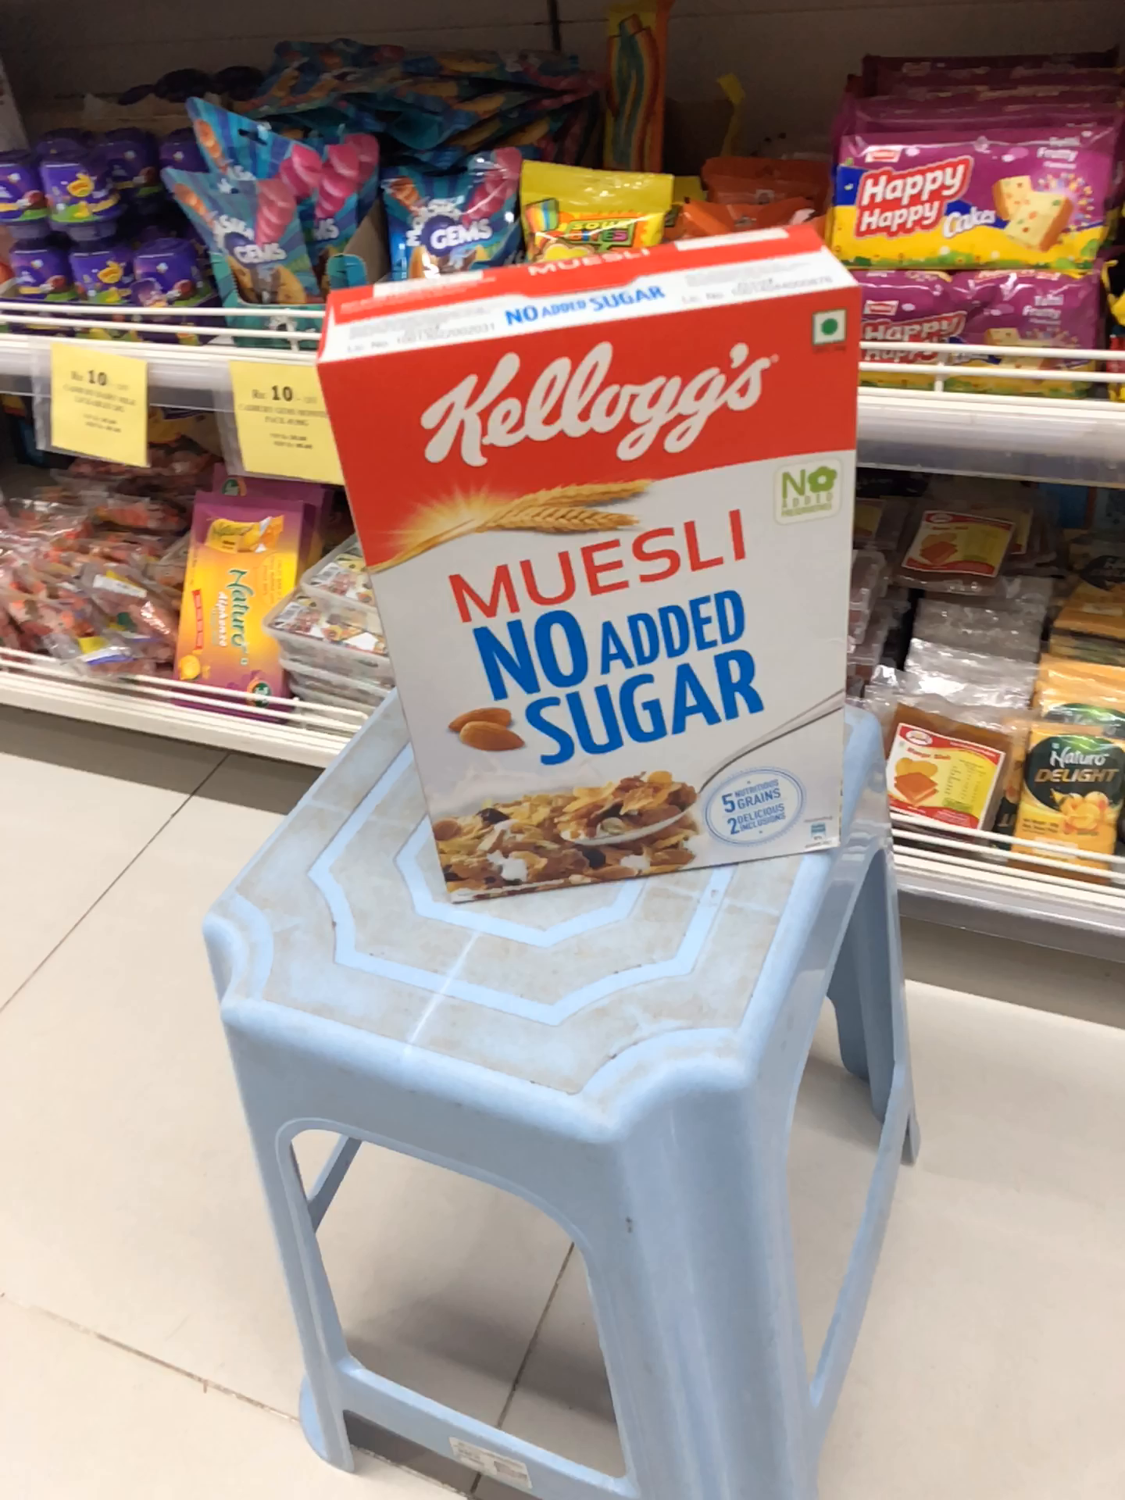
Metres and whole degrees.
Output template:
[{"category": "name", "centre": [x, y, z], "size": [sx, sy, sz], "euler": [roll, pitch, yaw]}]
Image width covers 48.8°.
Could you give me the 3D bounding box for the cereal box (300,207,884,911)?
[{"category": "cereal box", "centre": [0.021, -0.063, 0.507], "size": [0.190, 0.259, 0.070], "euler": [-9, 39, 0]}]
